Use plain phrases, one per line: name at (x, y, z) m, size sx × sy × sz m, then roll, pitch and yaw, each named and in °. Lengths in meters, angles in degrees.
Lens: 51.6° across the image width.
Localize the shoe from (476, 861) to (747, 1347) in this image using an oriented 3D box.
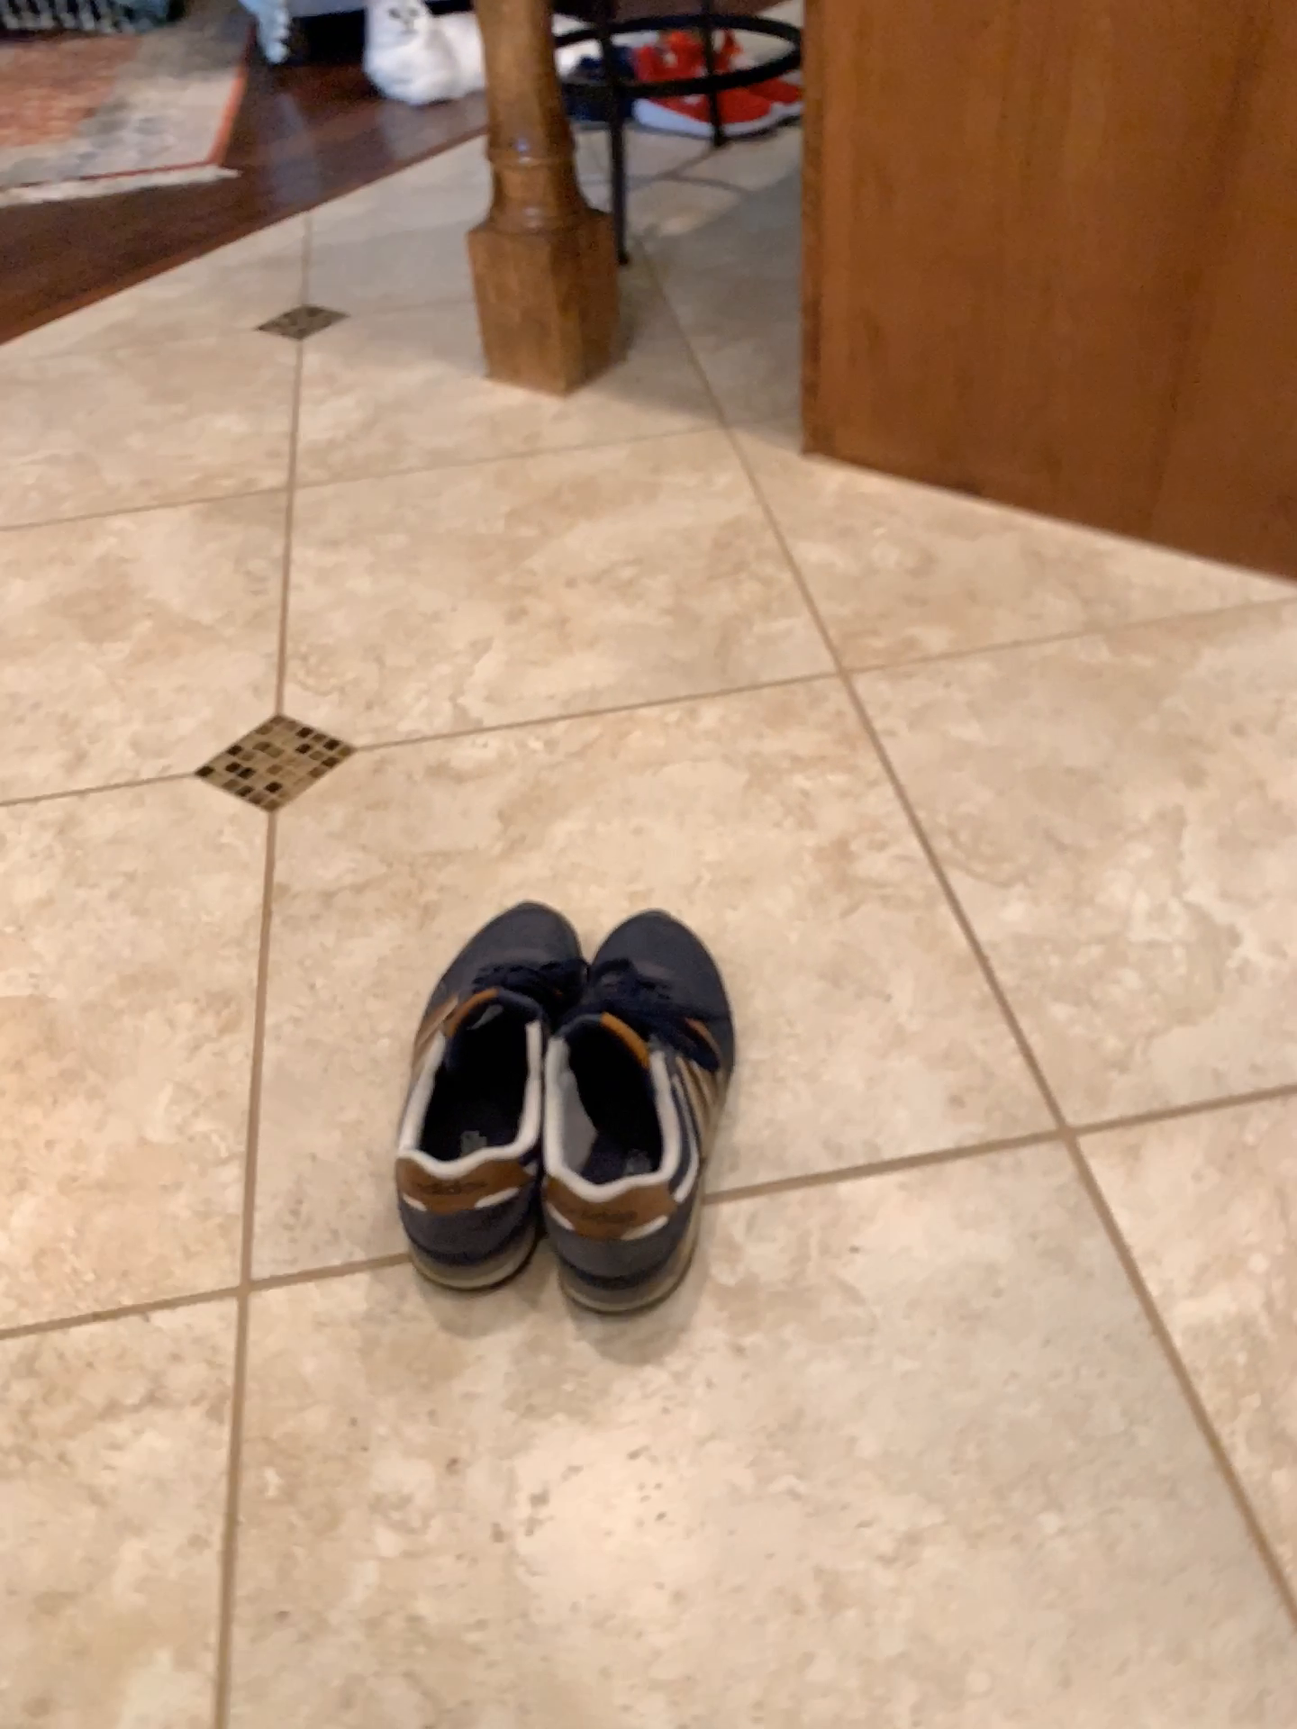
shoe at (-0.010, 0.135, 0.831) m, size 0.106 × 0.102 × 0.283 m, roll 4°, pitch 44°, yaw 10°

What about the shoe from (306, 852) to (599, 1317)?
shoe at (-0.110, 0.127, 0.853) m, size 0.112 × 0.102 × 0.283 m, roll 1°, pitch 43°, yaw 7°
